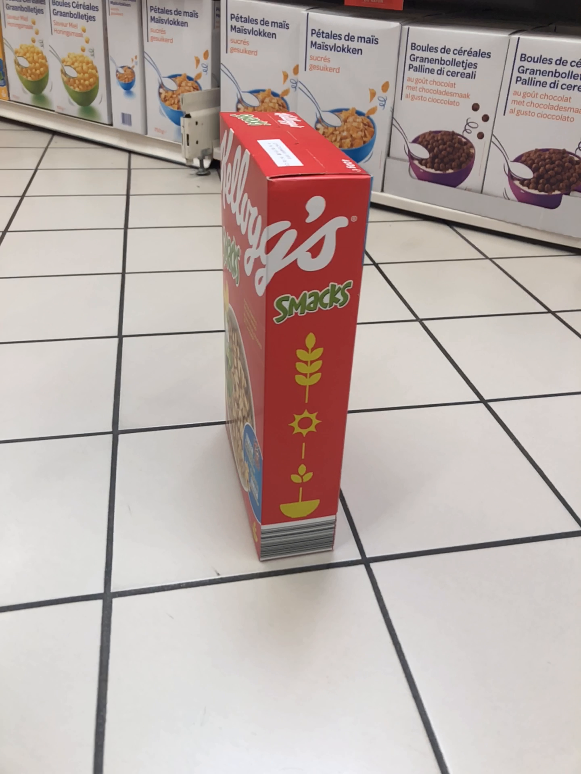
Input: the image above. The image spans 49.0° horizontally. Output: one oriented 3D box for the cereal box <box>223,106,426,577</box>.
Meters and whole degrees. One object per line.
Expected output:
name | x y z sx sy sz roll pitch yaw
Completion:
cereal box | 0.007 -0.039 0.495 0.080 0.298 0.201 -6 33 -12
